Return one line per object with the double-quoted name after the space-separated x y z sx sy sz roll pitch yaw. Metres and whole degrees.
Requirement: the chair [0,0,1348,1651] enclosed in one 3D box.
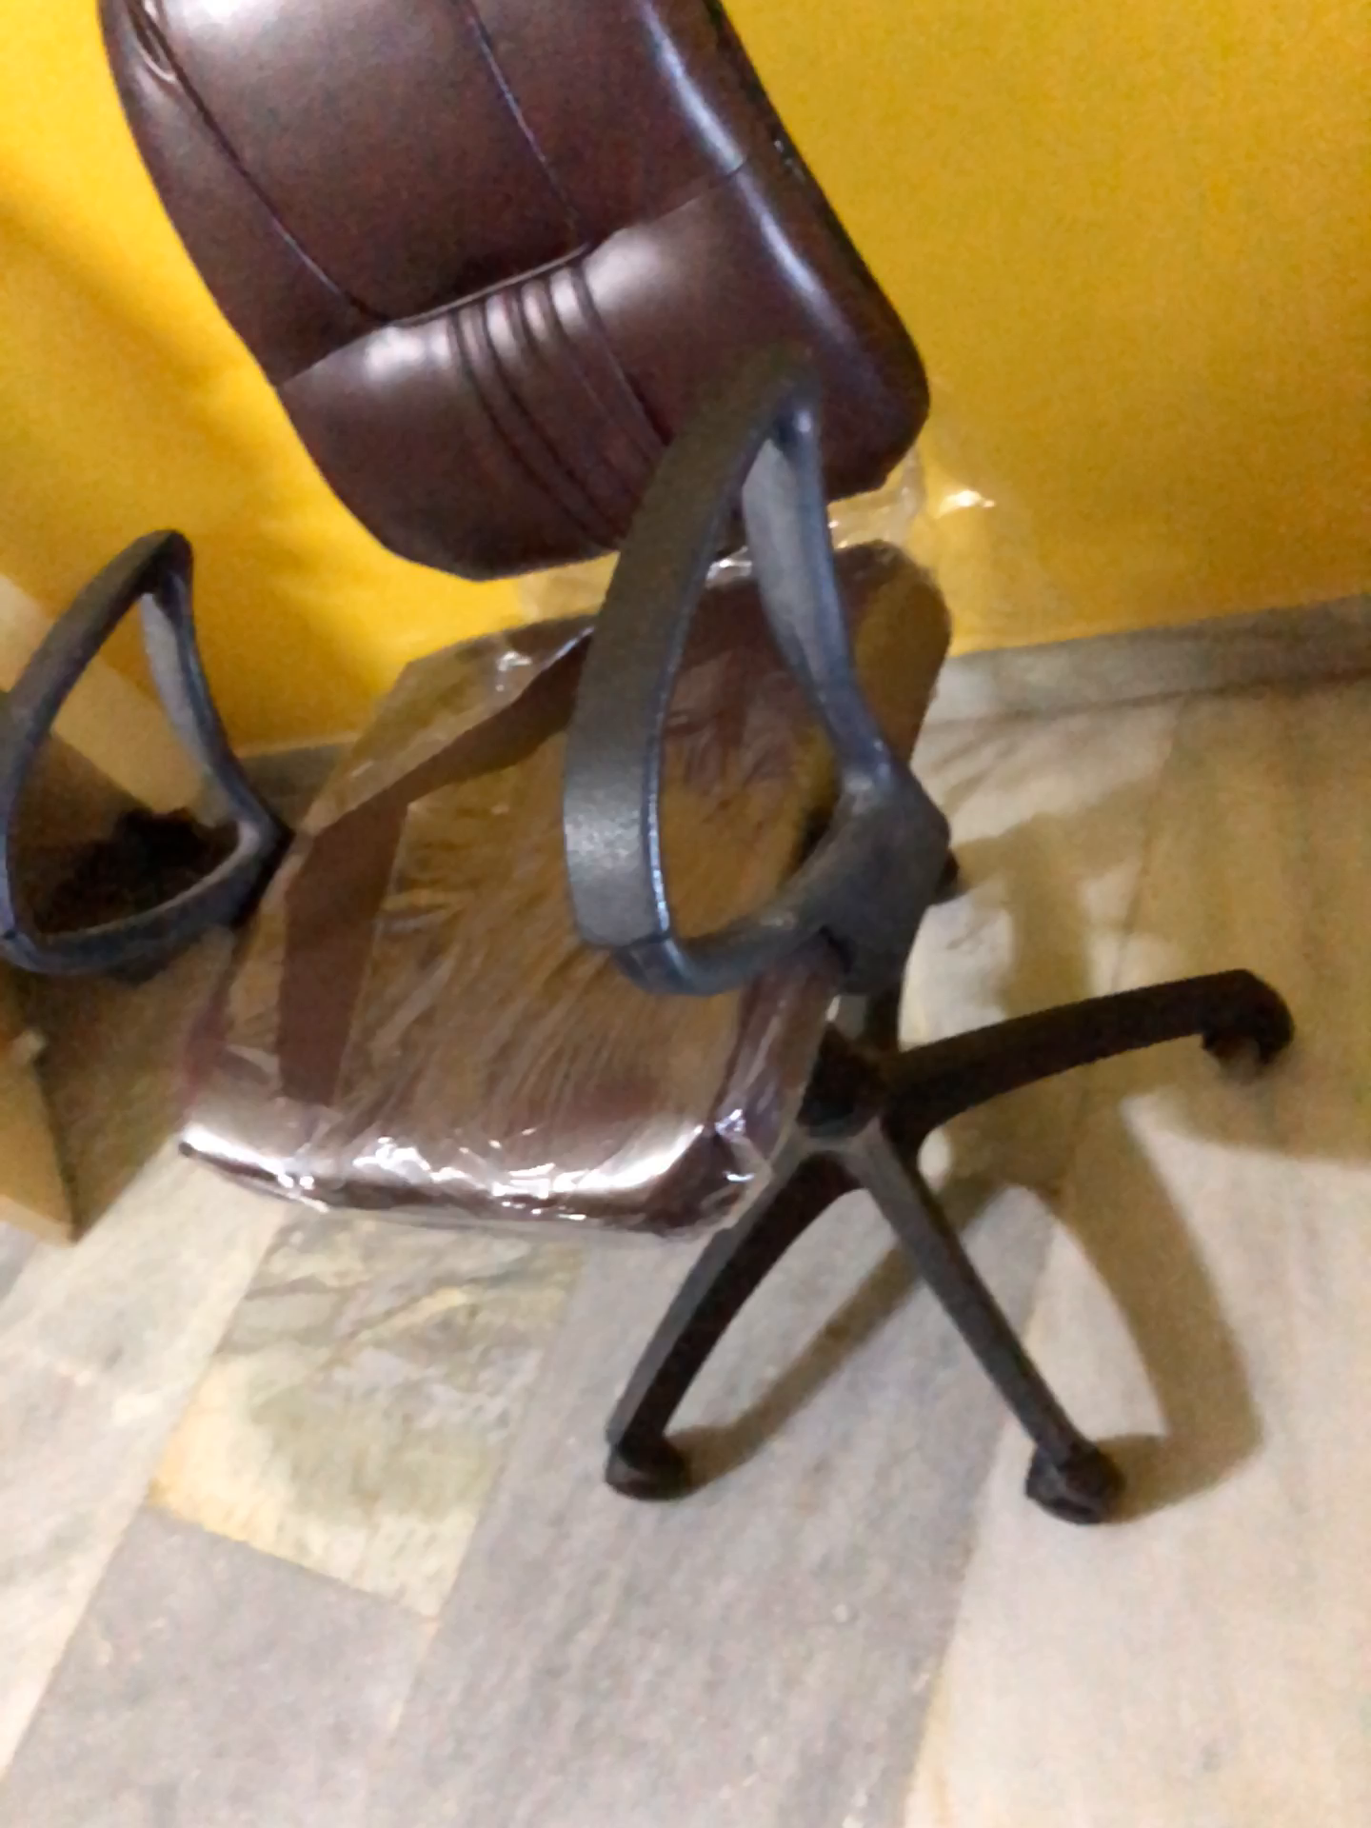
-0.092 -0.091 0.964 0.691 0.975 0.682 -6 52 37 "chair"
